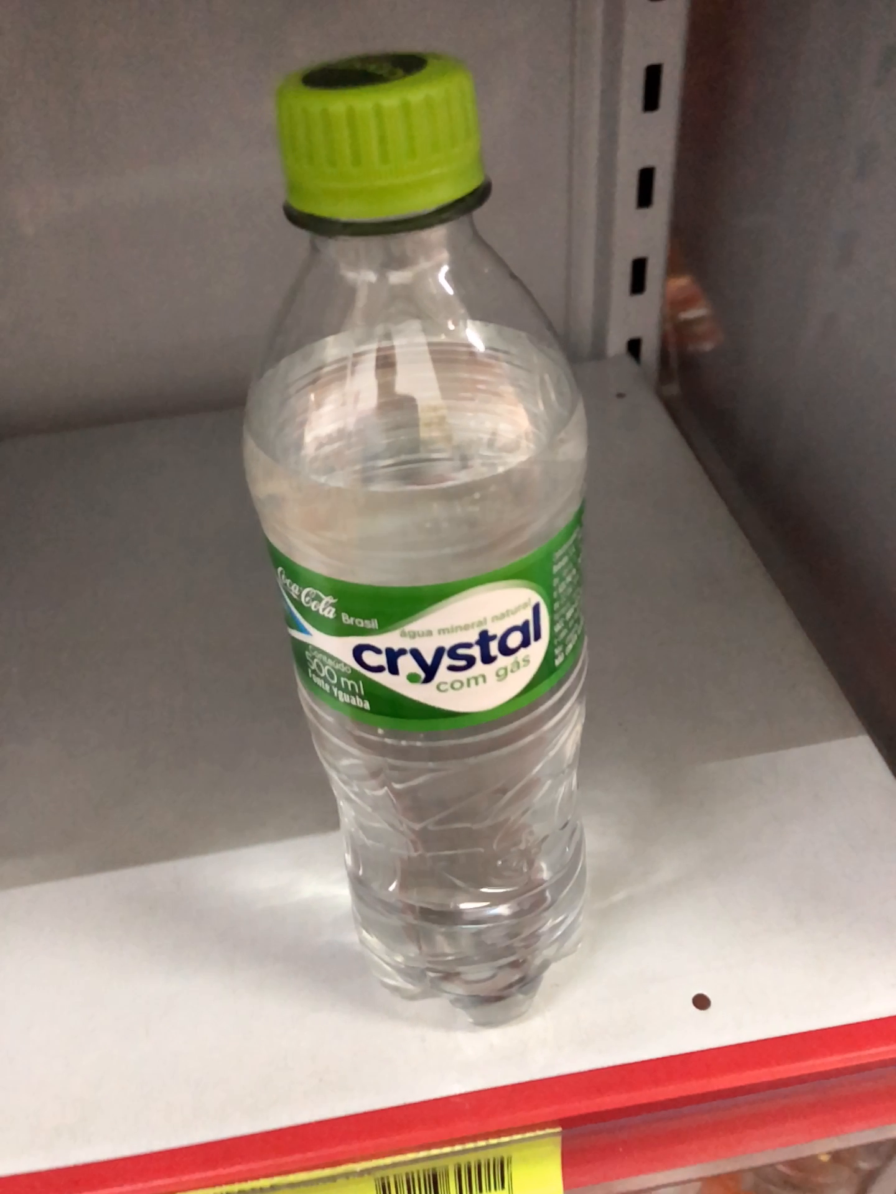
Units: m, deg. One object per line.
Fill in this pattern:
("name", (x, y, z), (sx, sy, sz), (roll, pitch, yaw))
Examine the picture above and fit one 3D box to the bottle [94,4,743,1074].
("bottle", (0.001, 0.014, 0.202), (0.070, 0.218, 0.060), (-6, 41, -1))
